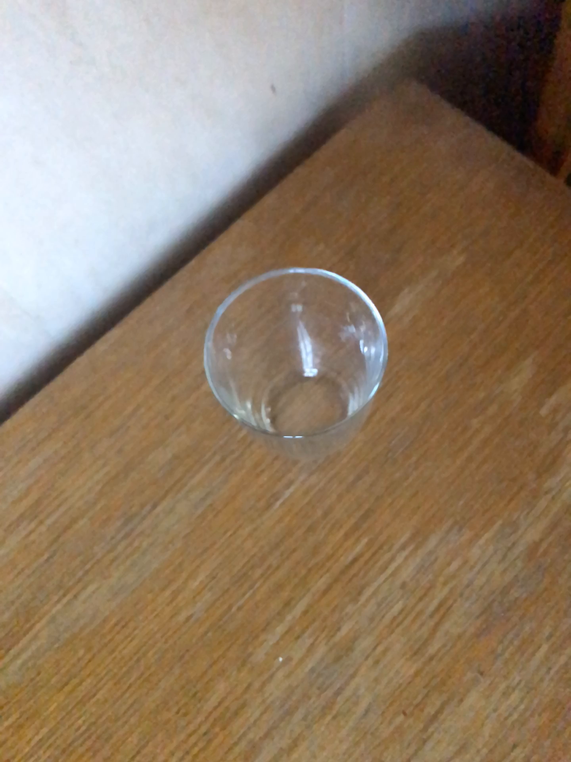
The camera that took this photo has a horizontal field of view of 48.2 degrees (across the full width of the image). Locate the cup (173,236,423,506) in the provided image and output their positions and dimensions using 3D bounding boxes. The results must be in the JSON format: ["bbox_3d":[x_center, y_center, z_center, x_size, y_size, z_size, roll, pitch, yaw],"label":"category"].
[{"bbox_3d":[0.008,0.000,0.273,0.070,0.080,0.070,-2,69,4],"label":"cup"}]
